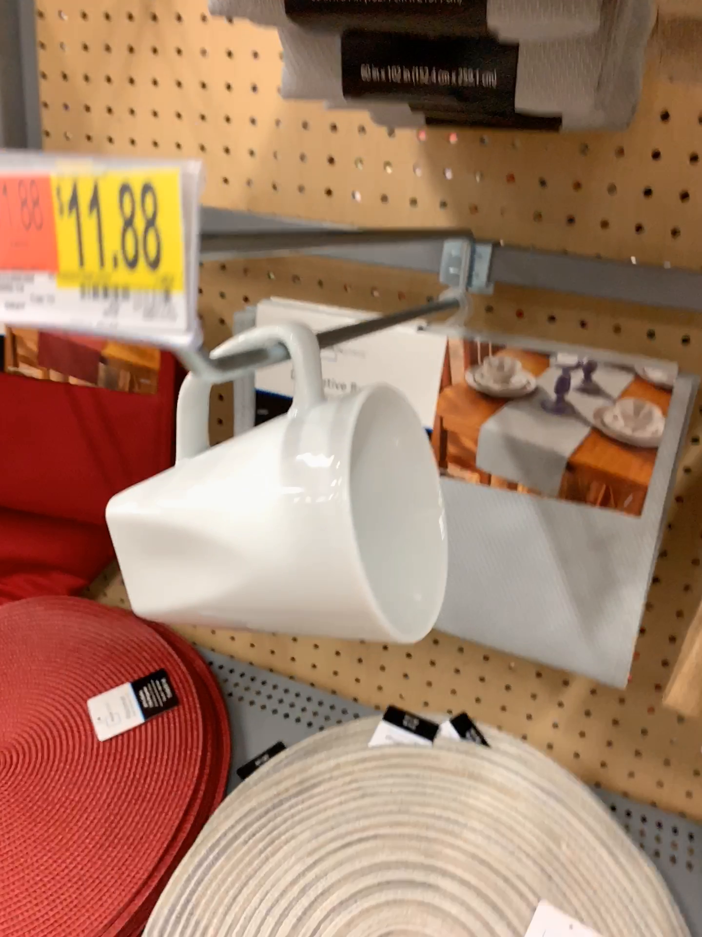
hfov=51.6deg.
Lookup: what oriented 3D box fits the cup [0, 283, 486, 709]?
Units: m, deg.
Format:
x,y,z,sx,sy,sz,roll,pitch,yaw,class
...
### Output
x,y,z,sx,sy,sz,roll,pitch,yaw,class
-0.033,0.003,0.276,0.140,0.120,0.090,0,19,25,cup
